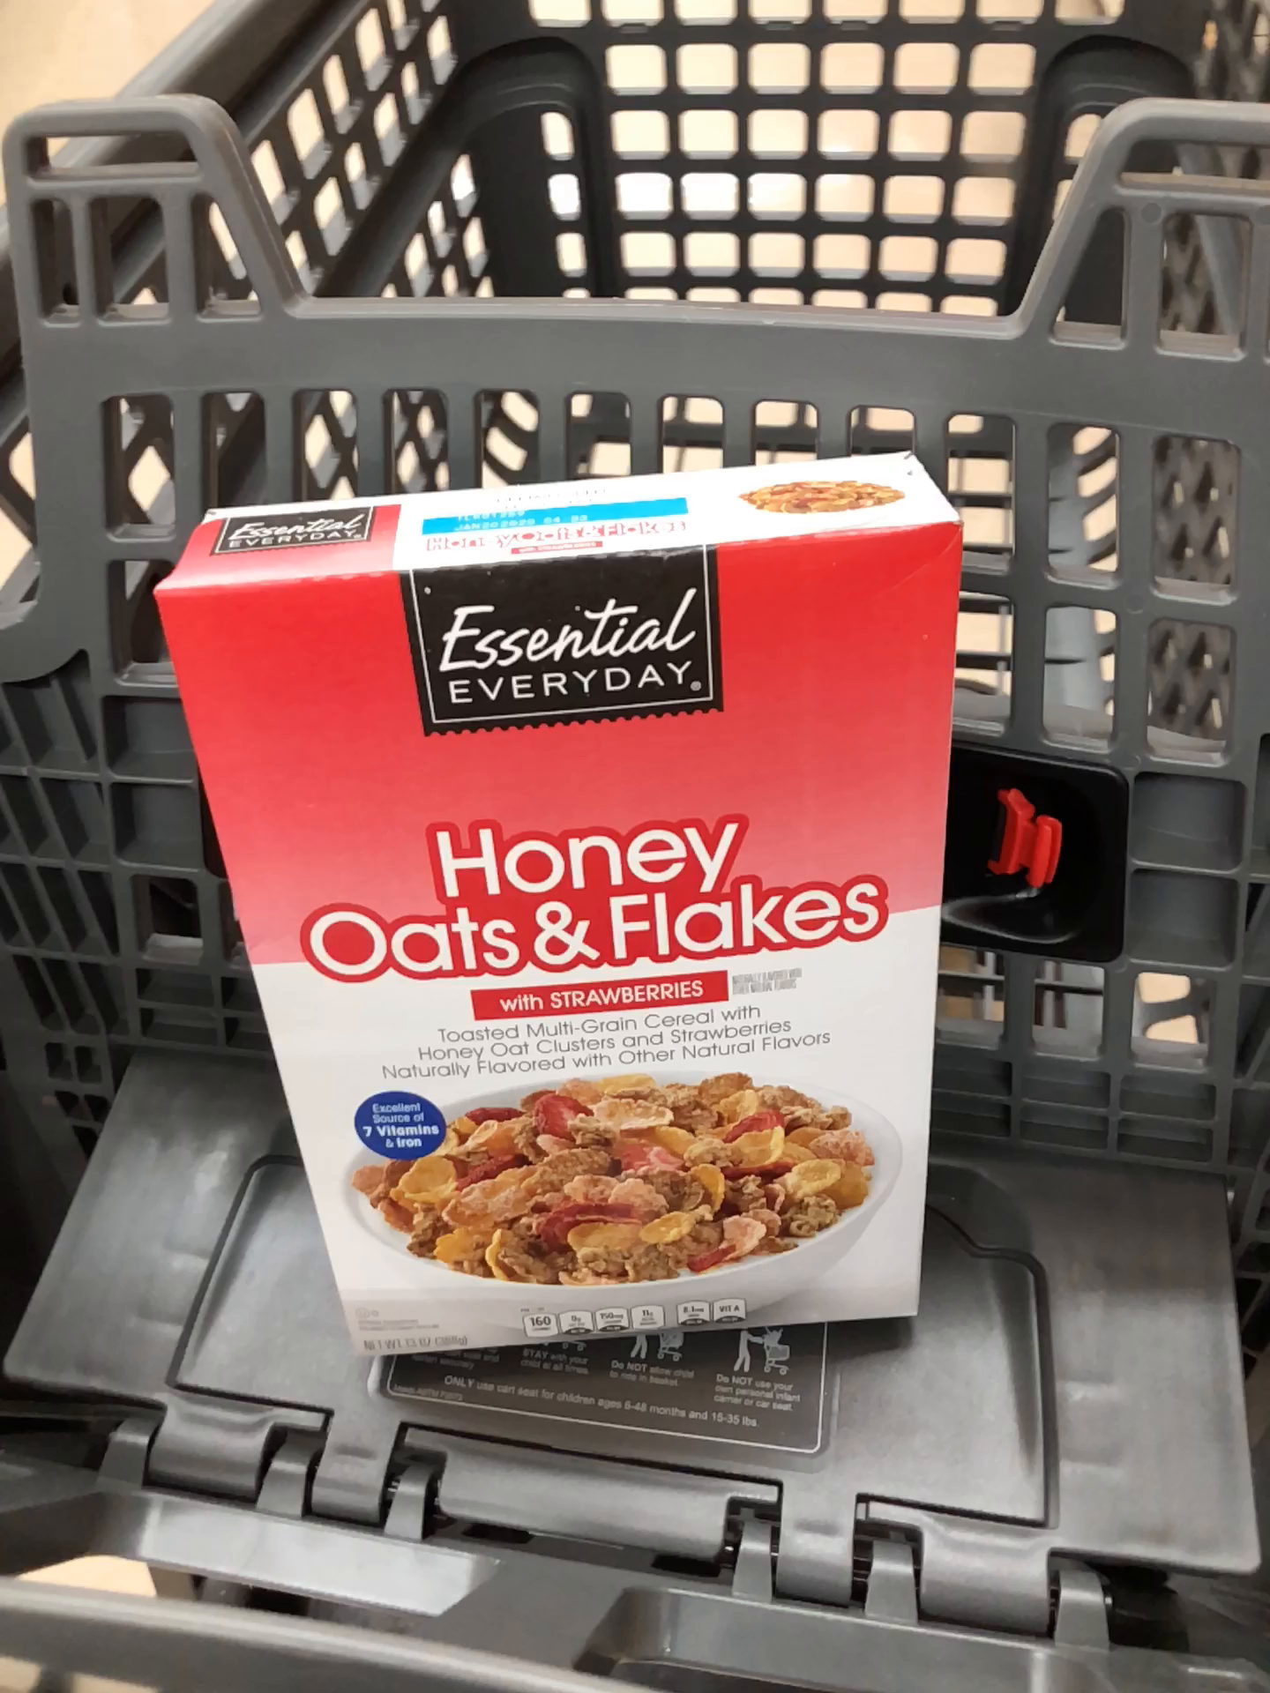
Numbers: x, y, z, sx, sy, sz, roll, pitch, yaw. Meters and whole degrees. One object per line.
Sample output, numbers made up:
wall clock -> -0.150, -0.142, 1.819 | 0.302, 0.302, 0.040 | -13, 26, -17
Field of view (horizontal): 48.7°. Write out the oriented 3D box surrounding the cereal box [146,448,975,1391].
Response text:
cereal box -> -0.008, 0.034, 0.395 | 0.180, 0.260, 0.060 | -5, 30, -1
